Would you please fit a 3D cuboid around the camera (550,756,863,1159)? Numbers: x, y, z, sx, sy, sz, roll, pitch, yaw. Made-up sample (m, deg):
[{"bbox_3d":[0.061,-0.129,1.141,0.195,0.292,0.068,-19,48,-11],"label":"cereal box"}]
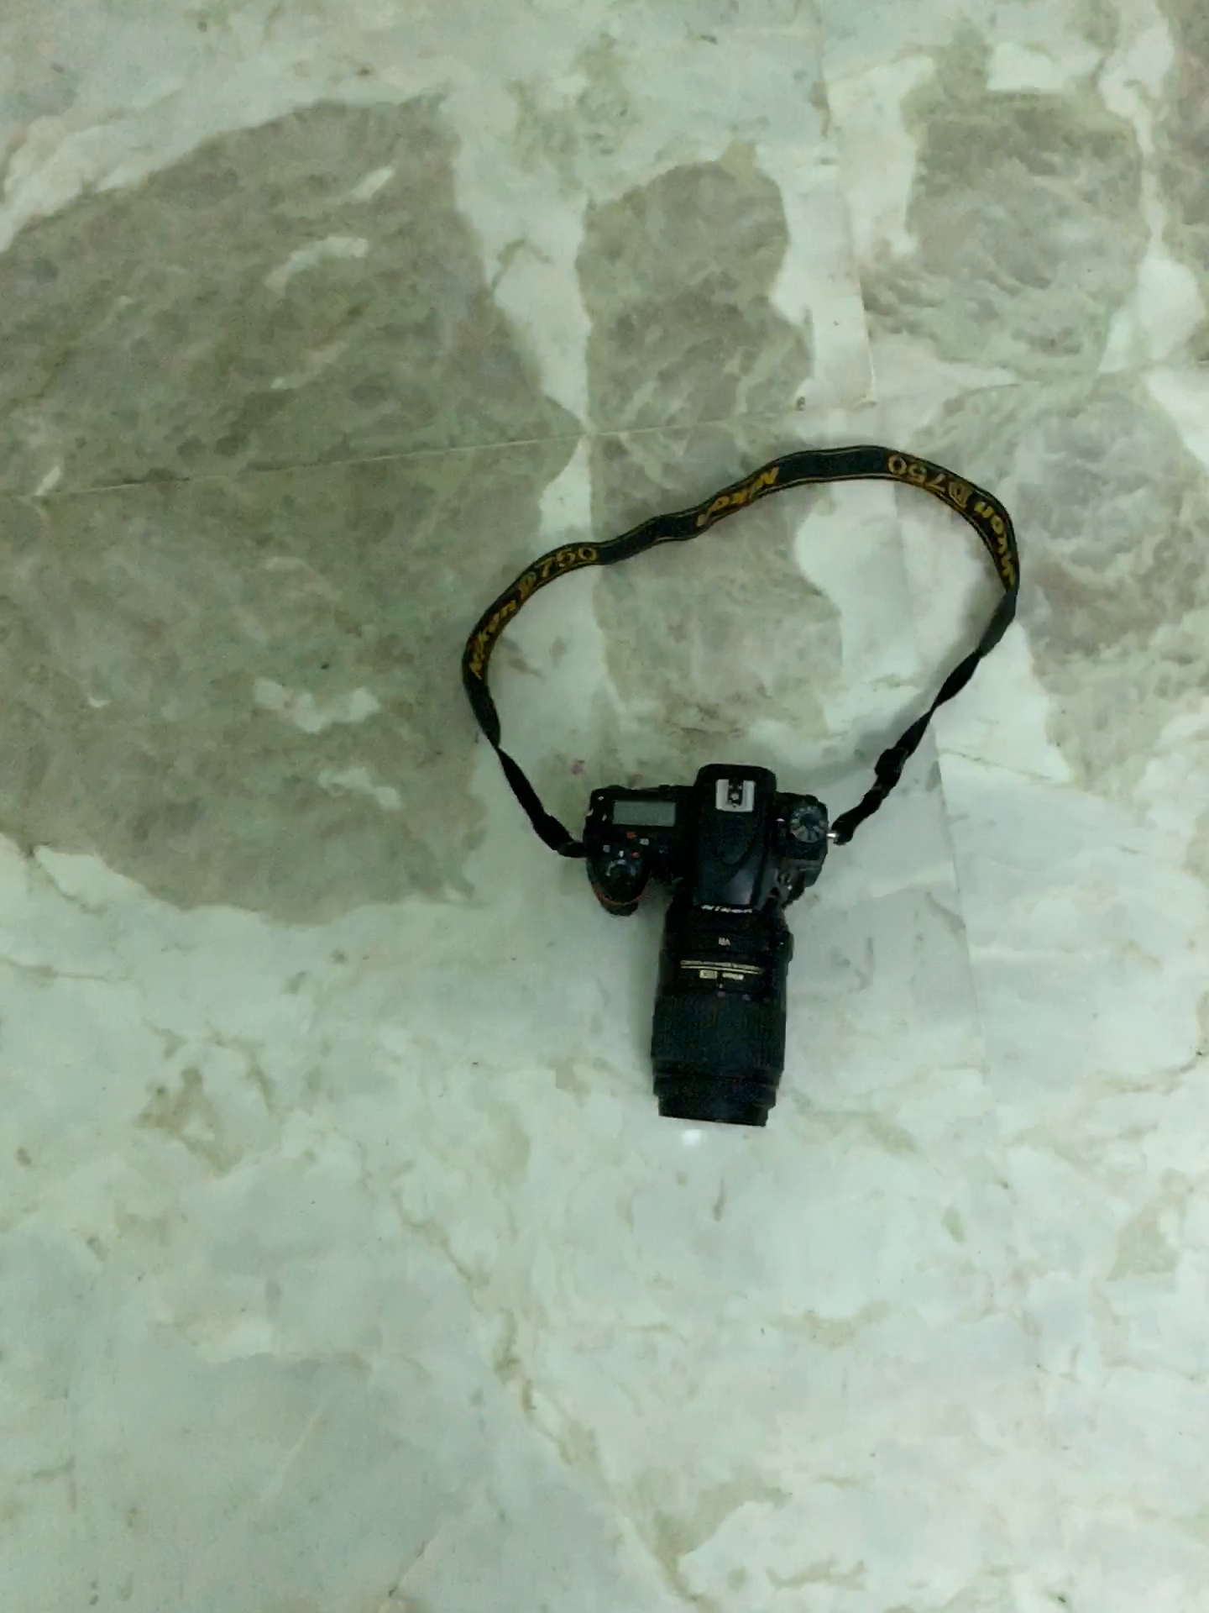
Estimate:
[{"bbox_3d":[0.062,0.090,0.711,0.150,0.120,0.200,4,73,7],"label":"camera"}]
